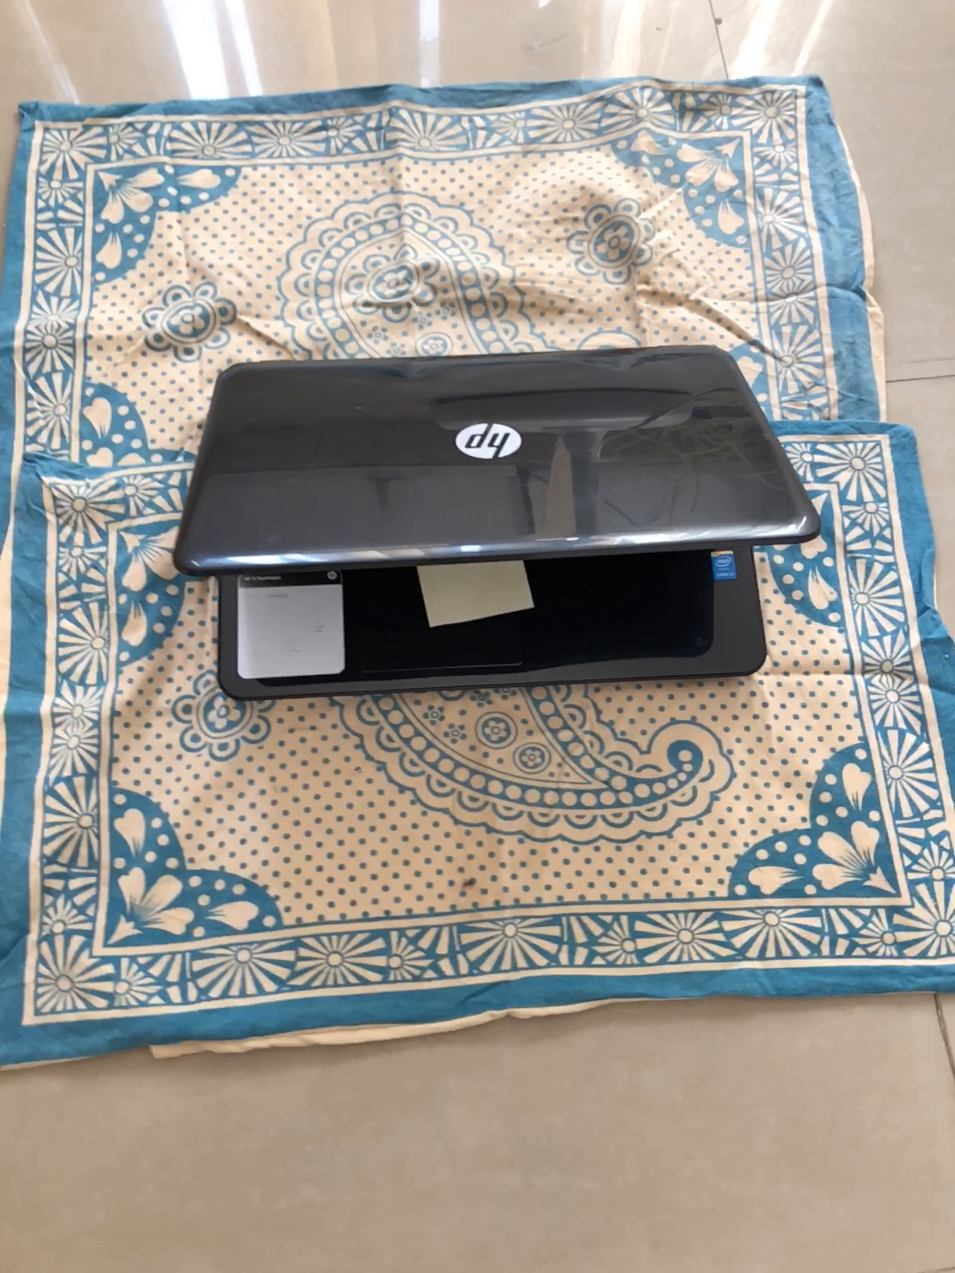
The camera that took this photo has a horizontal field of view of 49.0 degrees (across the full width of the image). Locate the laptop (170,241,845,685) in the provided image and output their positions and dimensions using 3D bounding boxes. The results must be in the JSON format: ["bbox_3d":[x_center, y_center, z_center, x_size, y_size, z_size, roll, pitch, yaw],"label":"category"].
[{"bbox_3d":[0.006,-0.106,0.678,0.363,0.151,0.237,-2,71,0],"label":"laptop"}]
